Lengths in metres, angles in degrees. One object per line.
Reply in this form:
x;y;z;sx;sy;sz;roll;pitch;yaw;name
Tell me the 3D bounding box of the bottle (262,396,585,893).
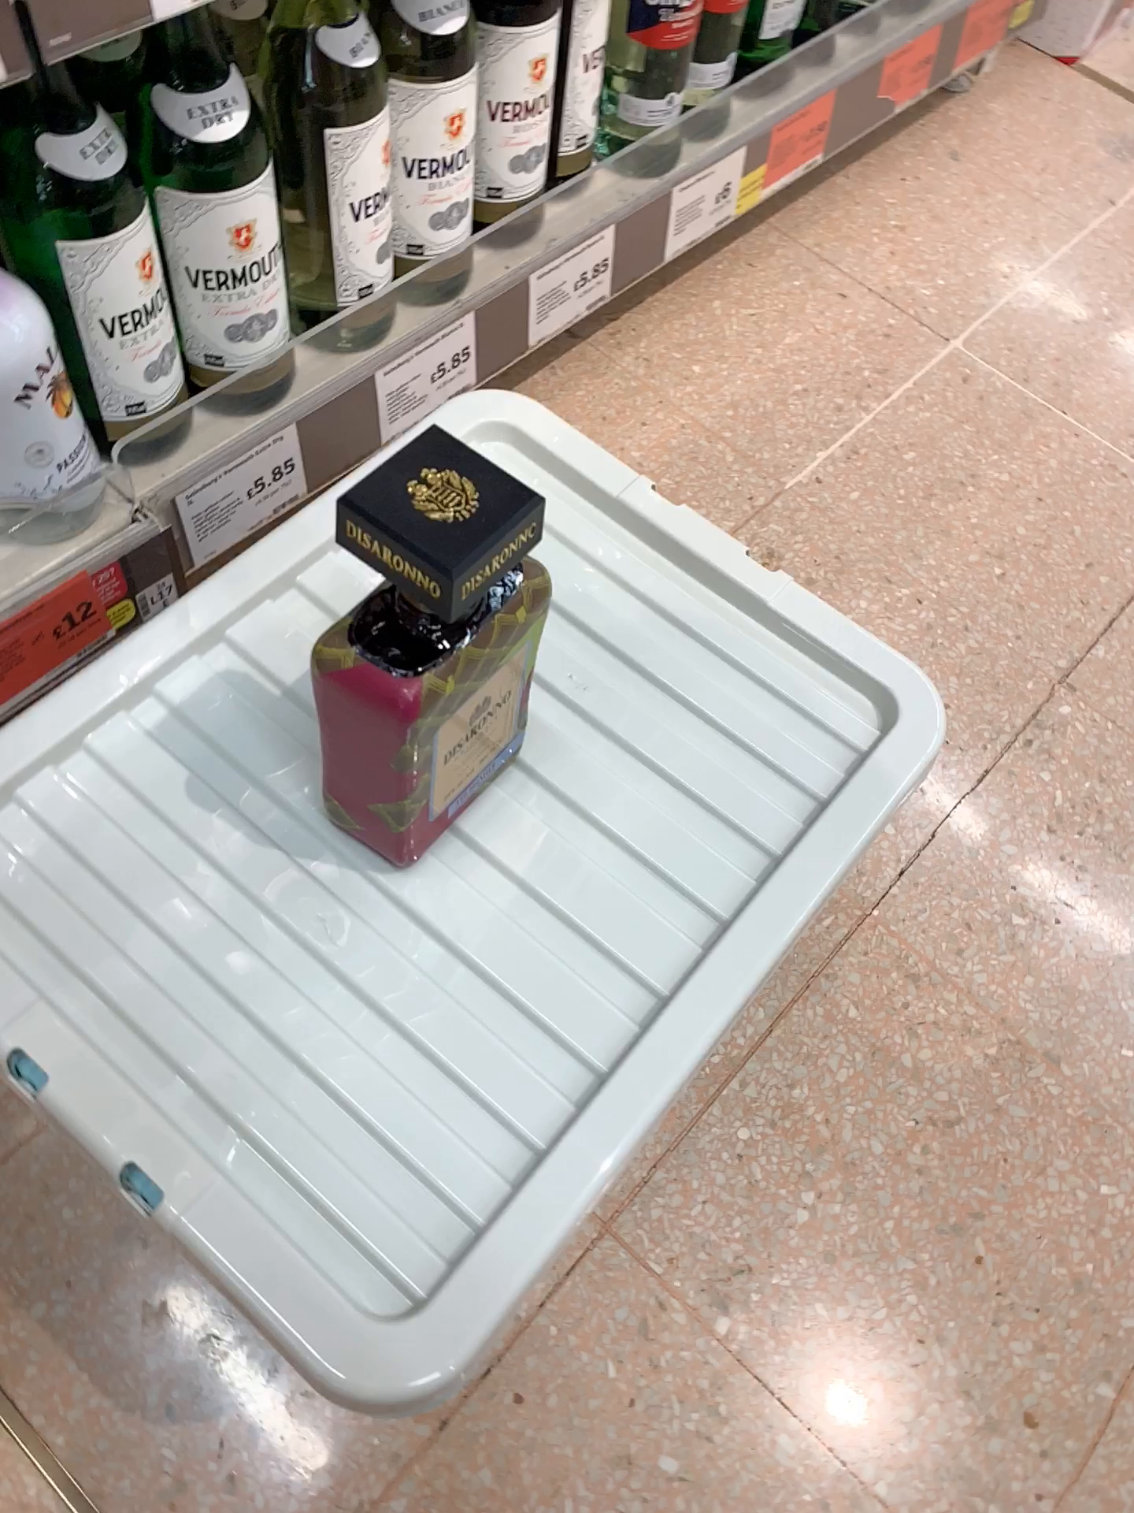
-0.059;-0.035;0.486;0.060;0.199;0.100;36;62;13;bottle
